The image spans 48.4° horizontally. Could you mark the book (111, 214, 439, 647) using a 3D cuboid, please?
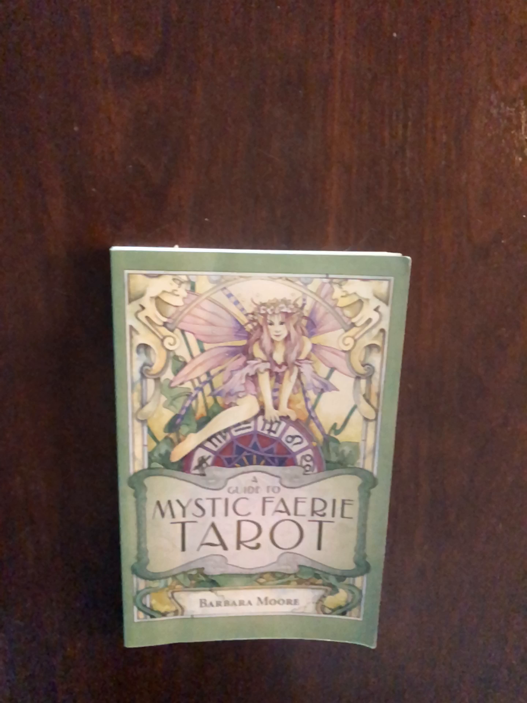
[{"bbox_3d":[0.000,0.043,0.289,0.139,0.032,0.209,1,105,-7],"label":"book"}]
